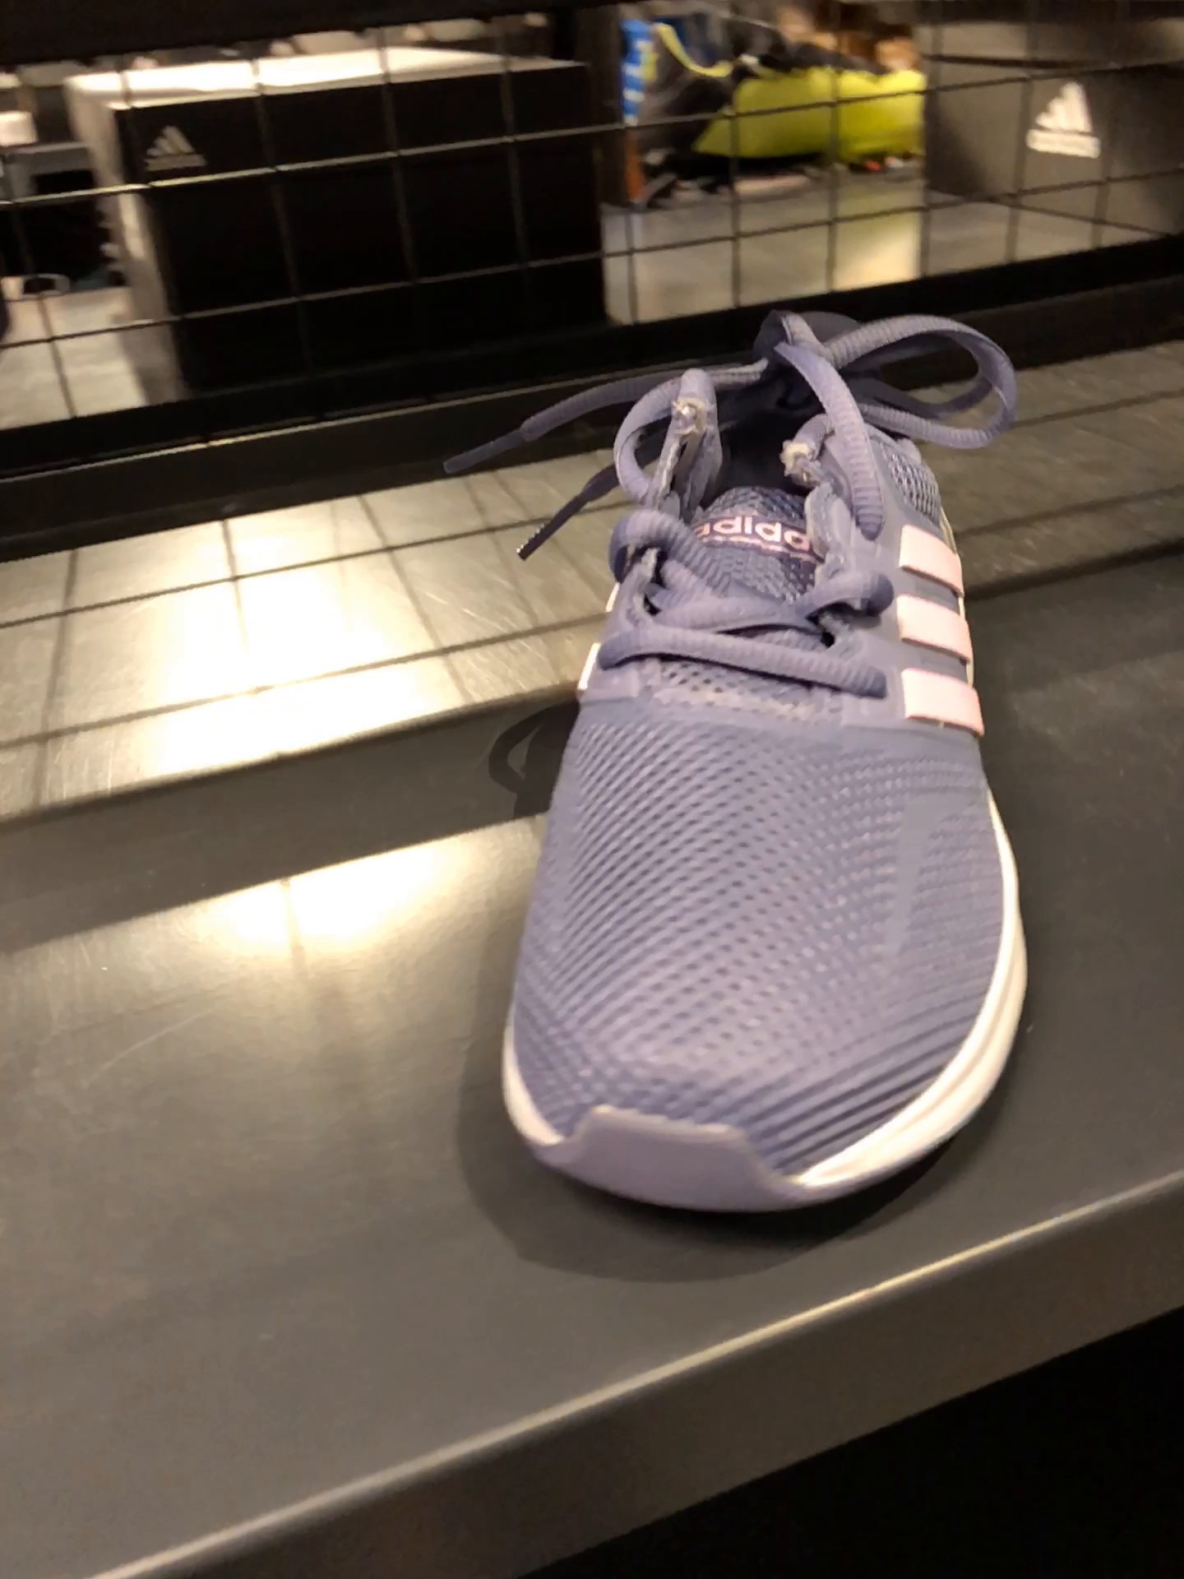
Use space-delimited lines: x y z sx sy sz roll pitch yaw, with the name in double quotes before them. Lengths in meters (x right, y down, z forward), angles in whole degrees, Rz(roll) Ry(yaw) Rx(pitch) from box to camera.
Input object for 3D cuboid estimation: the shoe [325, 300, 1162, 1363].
"shoe" 0.041 -0.022 0.255 0.090 0.090 0.221 3 33 14
